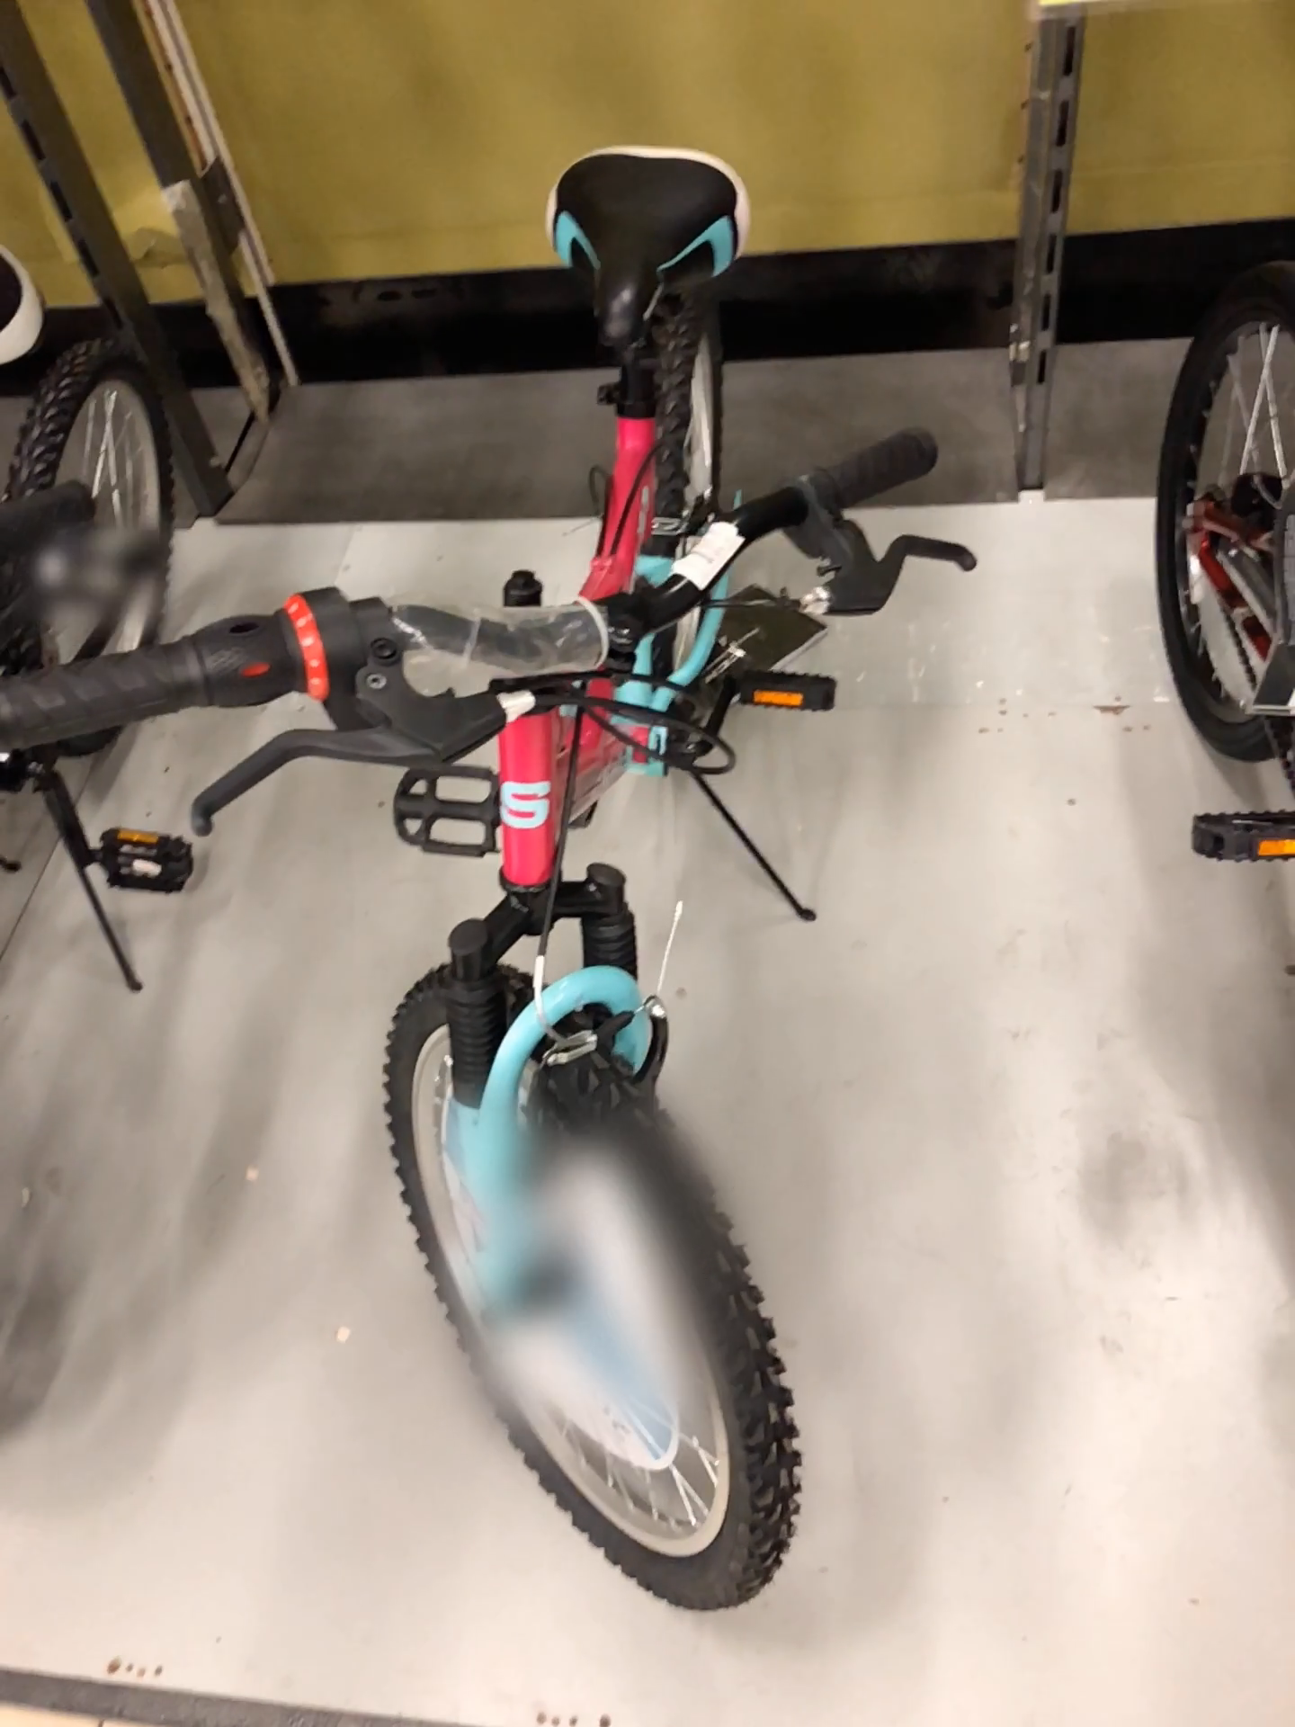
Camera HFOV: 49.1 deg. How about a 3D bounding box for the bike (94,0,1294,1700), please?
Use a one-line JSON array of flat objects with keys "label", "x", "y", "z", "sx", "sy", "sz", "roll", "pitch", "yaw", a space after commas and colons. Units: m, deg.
[{"label": "bike", "x": 0.103, "y": -0.122, "z": 1.143, "sx": 0.562, "sy": 0.764, "sz": 1.220, "roll": -5, "pitch": 54, "yaw": 6}]
